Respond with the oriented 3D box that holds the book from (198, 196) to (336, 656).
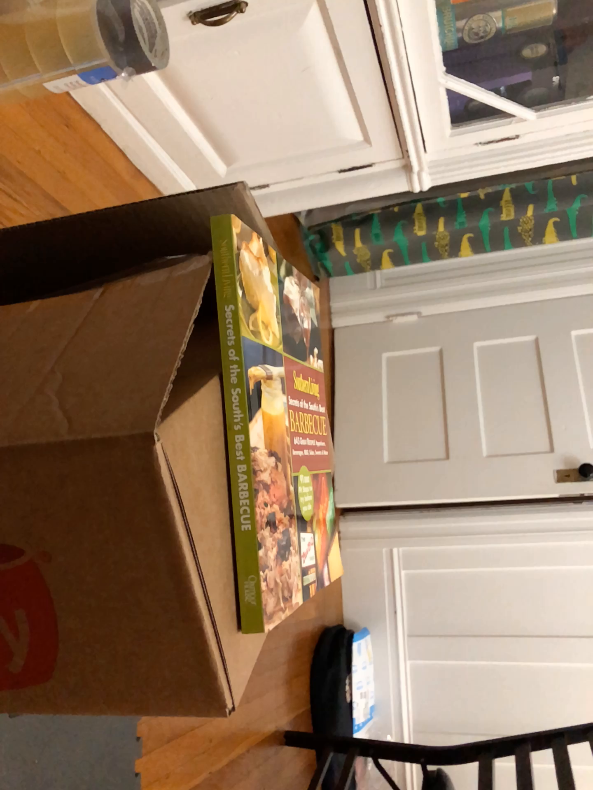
[{"bbox_3d":[-0.014,0.025,0.518,0.221,0.020,0.290,18,67,-72],"label":"book"}]
